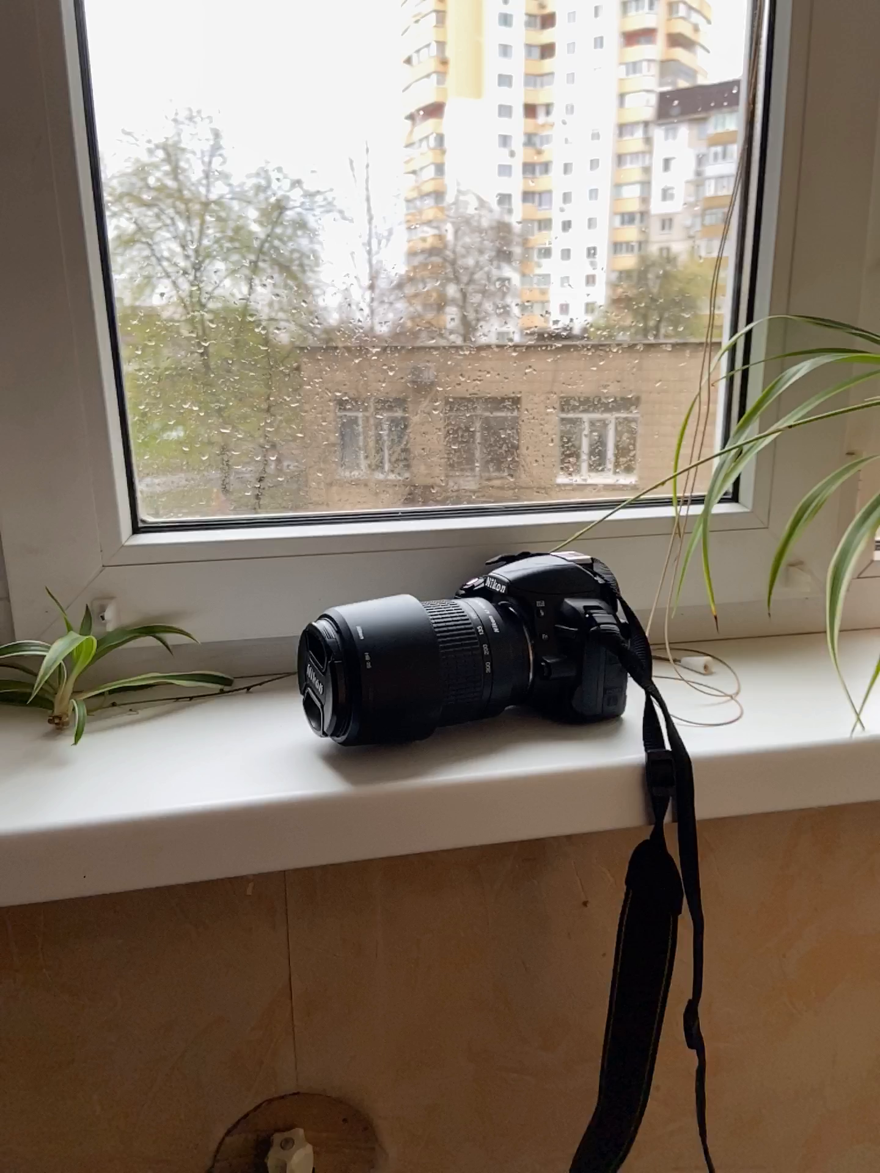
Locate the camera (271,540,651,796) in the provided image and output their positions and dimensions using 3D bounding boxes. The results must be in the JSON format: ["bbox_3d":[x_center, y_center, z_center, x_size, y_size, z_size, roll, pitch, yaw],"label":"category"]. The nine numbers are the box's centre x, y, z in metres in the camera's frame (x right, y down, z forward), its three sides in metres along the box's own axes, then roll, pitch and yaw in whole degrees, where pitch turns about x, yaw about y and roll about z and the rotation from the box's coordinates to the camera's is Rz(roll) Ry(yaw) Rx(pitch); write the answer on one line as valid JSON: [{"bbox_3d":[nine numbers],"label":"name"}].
[{"bbox_3d":[0.011,0.038,0.548,0.190,0.089,0.125,-8,17,-26],"label":"camera"}]
